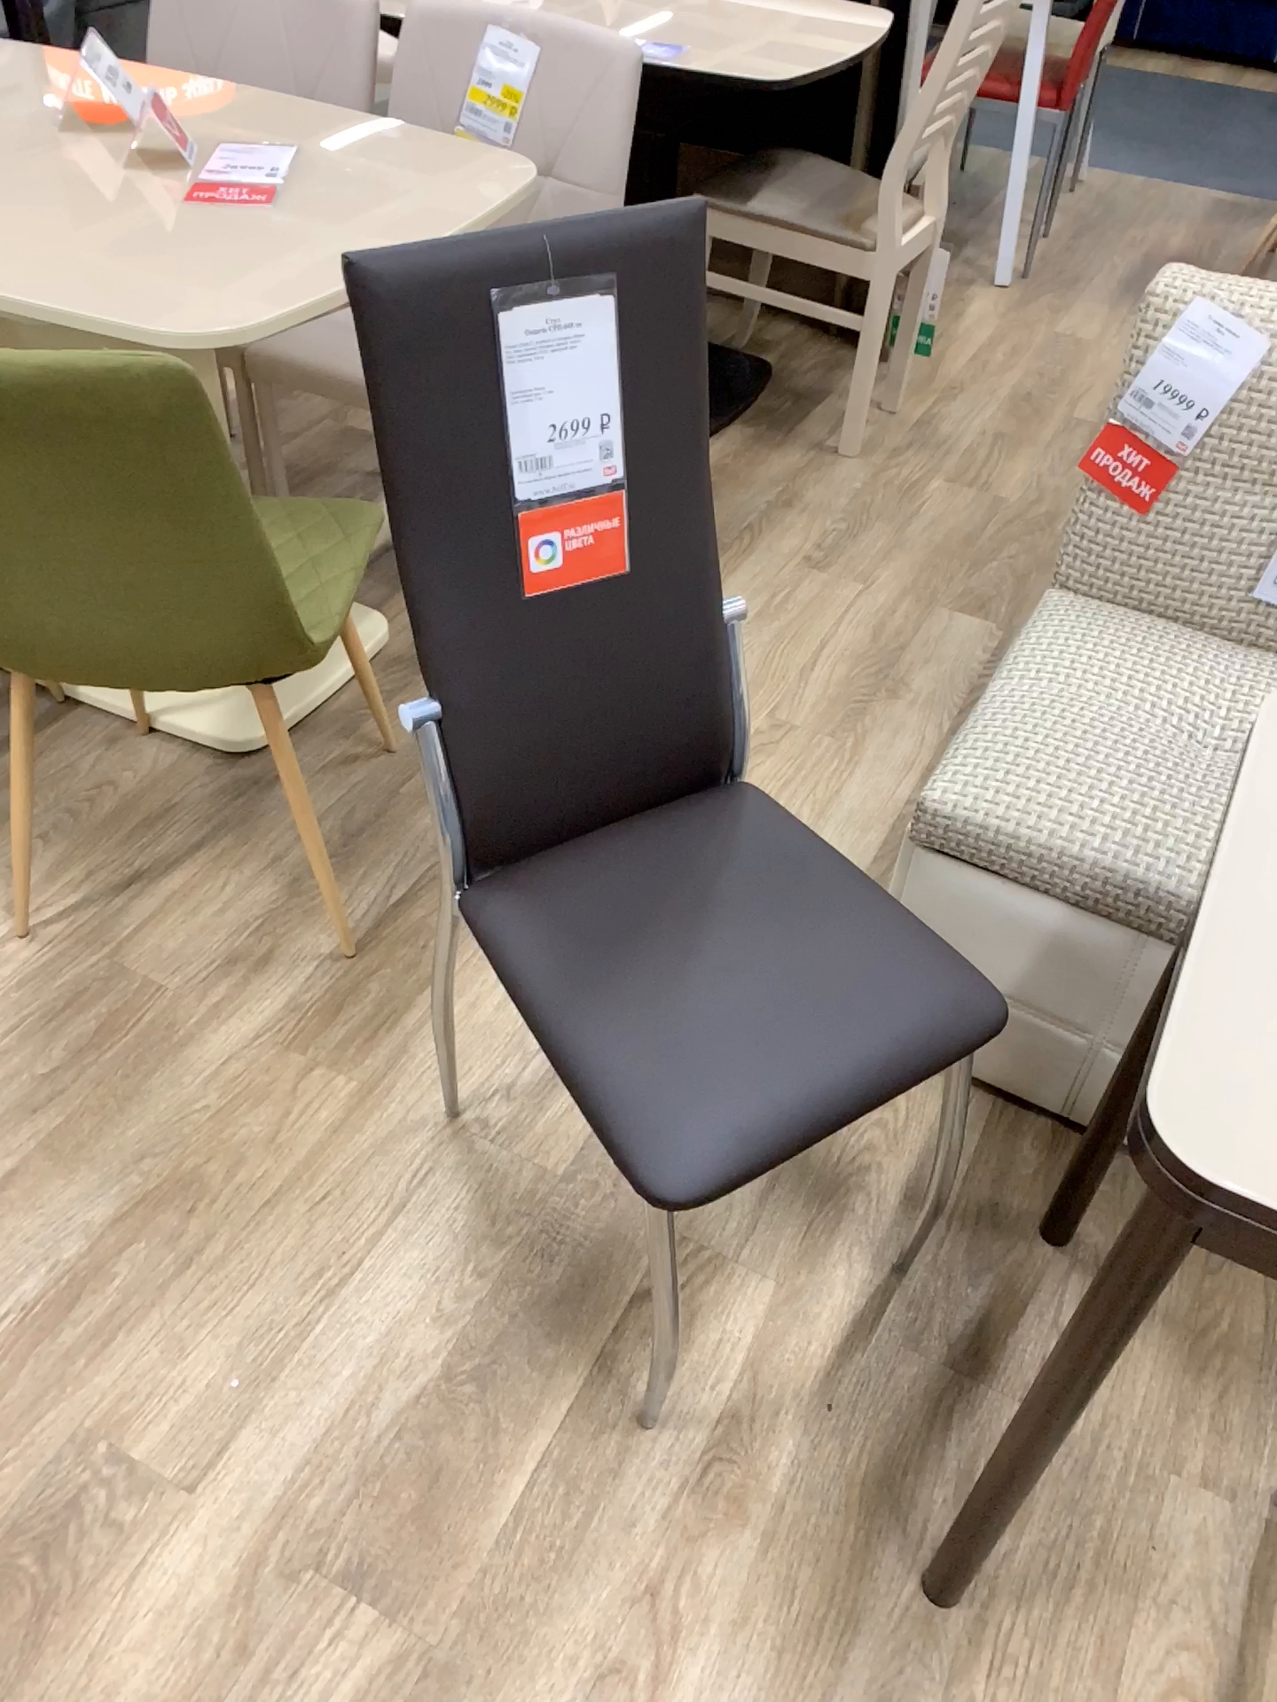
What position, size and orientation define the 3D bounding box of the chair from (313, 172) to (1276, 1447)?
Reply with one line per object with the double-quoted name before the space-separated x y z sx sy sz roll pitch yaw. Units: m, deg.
"chair" 0.056 0.014 1.200 0.421 0.995 0.502 -21 49 -24
